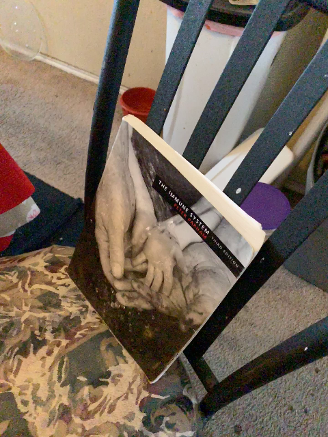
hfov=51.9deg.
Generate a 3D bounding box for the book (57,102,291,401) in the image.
[{"bbox_3d":[-0.026,0.046,0.391,0.040,0.269,0.220,-17,53,-45],"label":"book"}]
